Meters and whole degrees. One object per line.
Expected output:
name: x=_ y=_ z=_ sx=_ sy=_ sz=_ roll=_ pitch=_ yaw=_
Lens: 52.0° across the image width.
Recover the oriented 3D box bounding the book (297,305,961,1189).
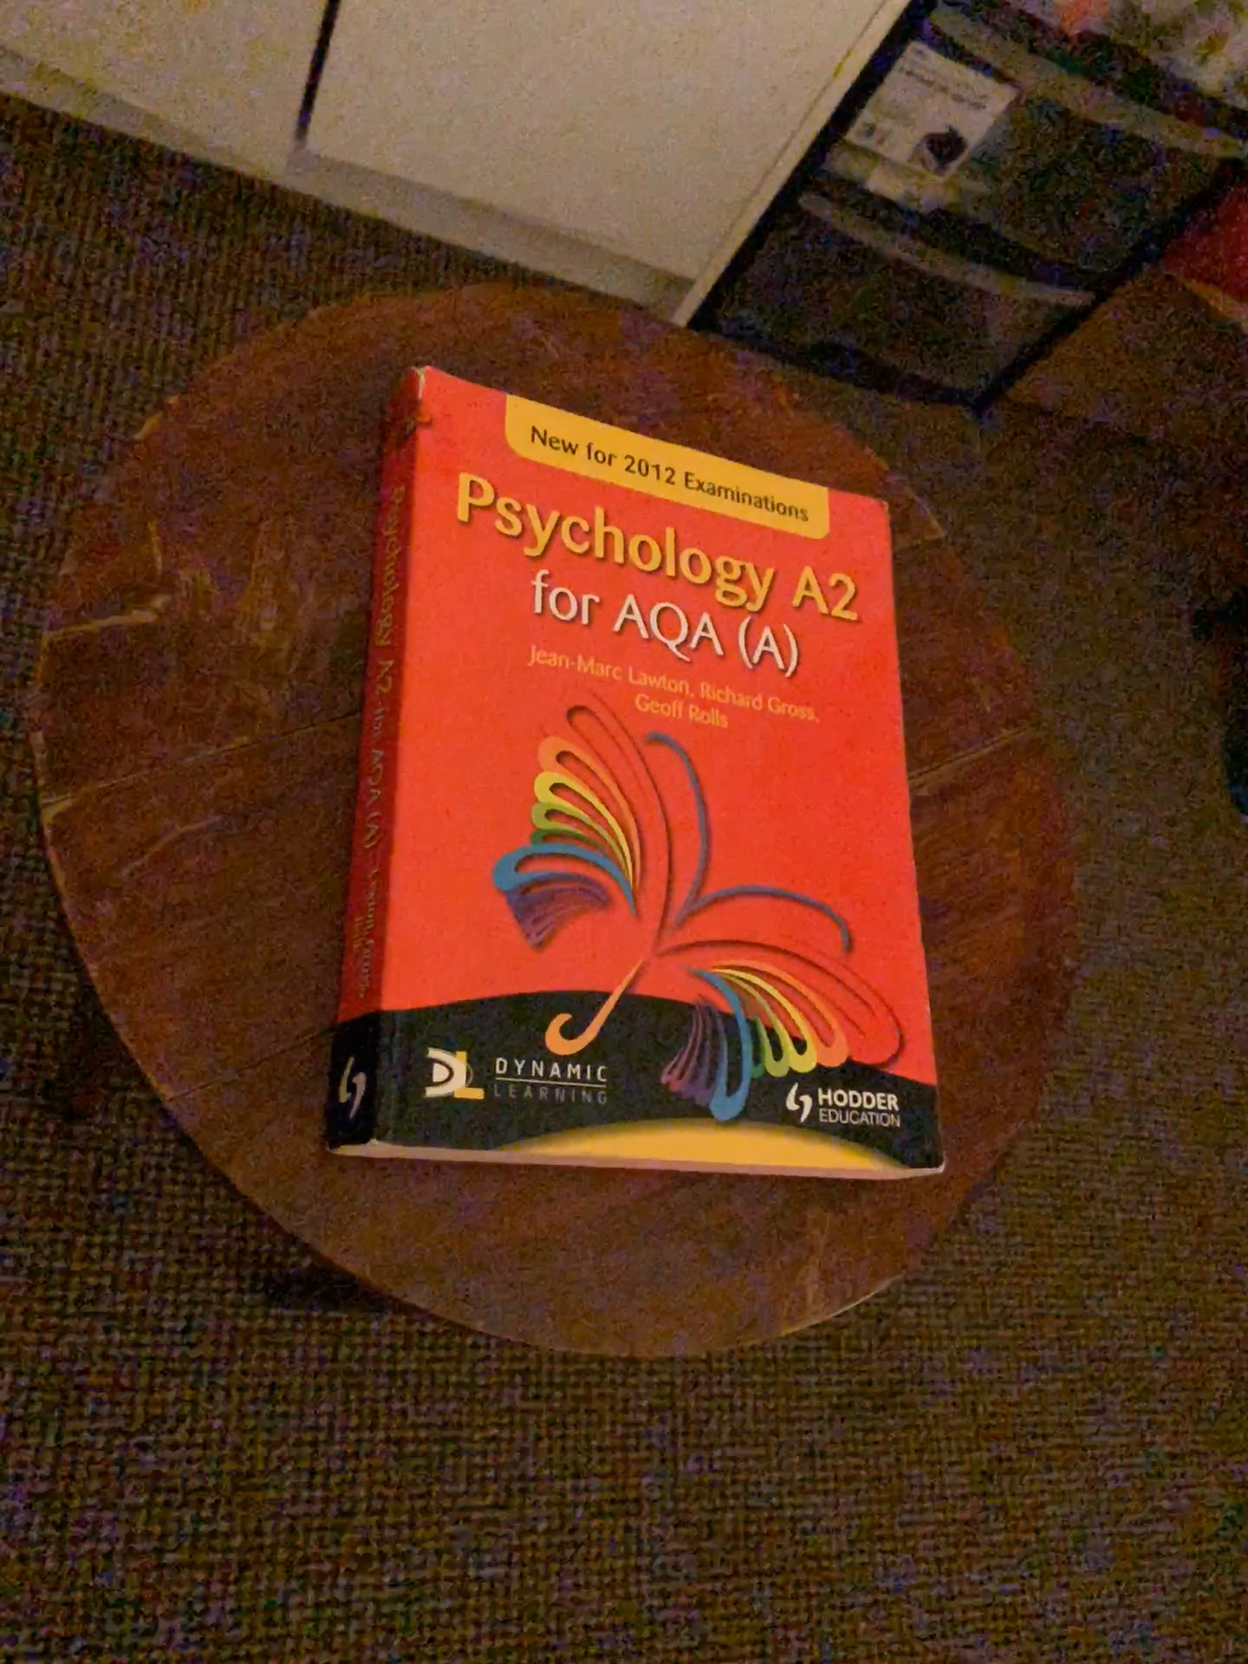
book: x=0.008 y=-0.029 z=0.456 sx=0.211 sy=0.040 sz=0.291 roll=9 pitch=66 yaw=-22
